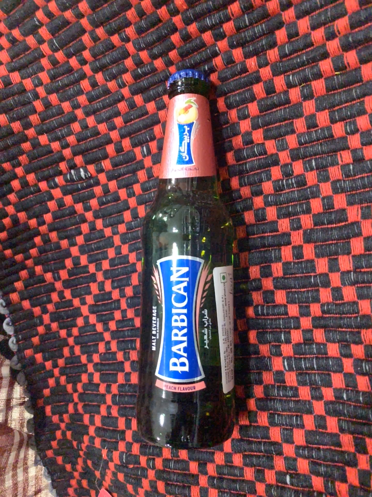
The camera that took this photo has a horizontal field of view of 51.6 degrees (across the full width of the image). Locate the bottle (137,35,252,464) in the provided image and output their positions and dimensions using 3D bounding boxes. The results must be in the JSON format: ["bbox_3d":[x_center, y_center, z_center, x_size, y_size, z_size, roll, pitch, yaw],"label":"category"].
[{"bbox_3d":[0.005,-0.003,0.228,0.050,0.050,0.220,162,110,-70],"label":"bottle"}]
